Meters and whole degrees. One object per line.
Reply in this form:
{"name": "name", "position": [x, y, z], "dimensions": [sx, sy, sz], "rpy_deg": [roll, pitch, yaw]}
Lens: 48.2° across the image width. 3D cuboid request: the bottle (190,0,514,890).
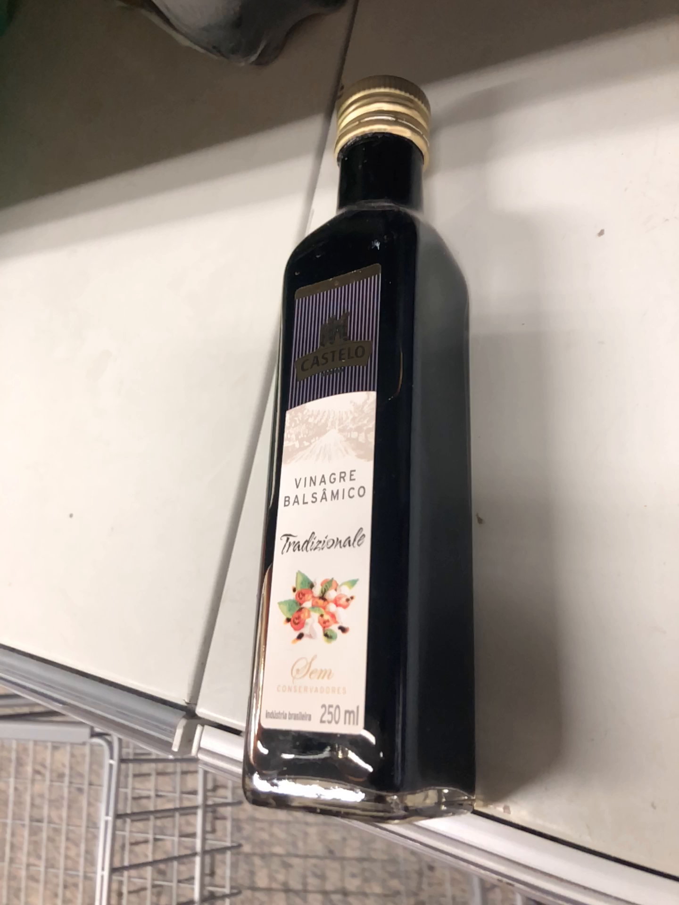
{"name": "bottle", "position": [0.011, -0.021, 0.228], "dimensions": [0.060, 0.060, 0.250], "rpy_deg": [-8, 70, 32]}
